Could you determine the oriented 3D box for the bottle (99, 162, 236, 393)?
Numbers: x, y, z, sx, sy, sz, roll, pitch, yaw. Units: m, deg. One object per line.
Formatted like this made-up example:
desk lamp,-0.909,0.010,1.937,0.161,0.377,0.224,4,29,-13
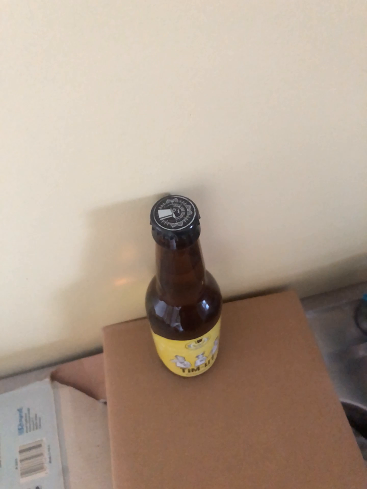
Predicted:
bottle,-0.002,0.047,0.317,0.060,0.229,0.060,-2,56,4
